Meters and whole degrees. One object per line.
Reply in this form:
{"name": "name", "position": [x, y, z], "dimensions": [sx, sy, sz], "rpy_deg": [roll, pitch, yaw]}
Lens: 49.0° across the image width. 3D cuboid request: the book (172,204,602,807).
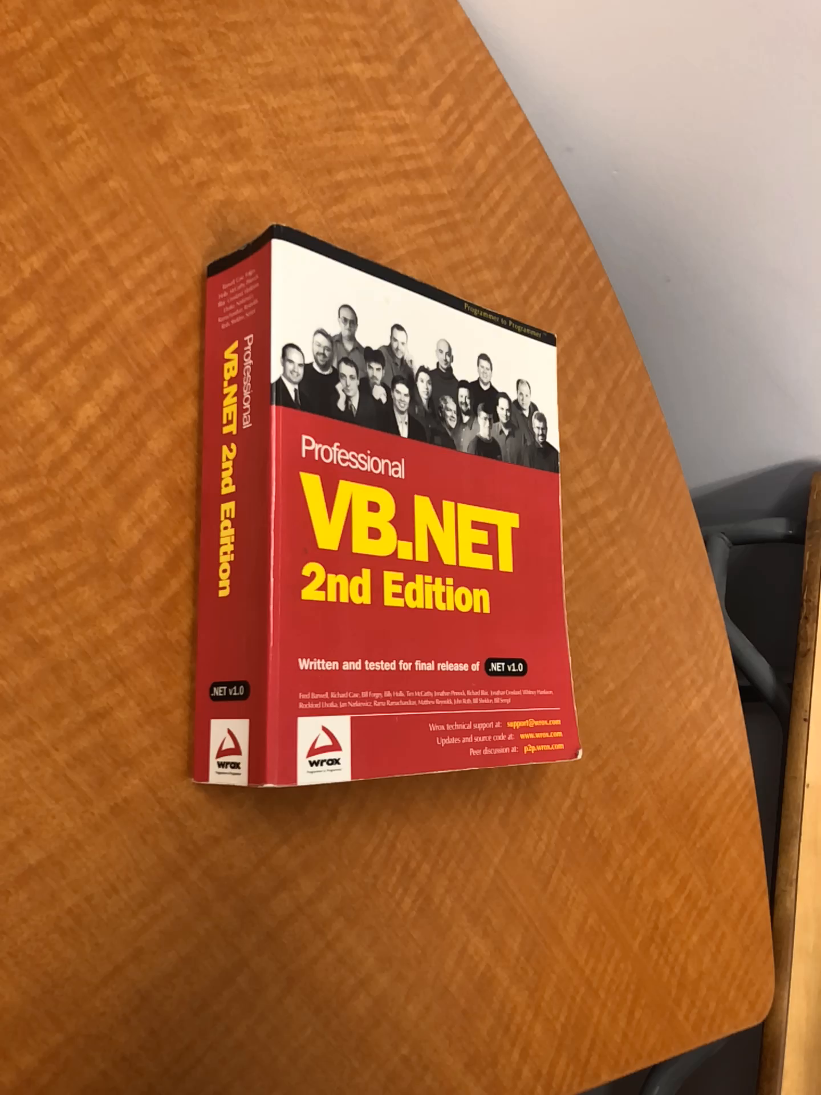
{"name": "book", "position": [-0.003, -0.006, 0.422], "dimensions": [0.201, 0.060, 0.230], "rpy_deg": [9, 74, -42]}
